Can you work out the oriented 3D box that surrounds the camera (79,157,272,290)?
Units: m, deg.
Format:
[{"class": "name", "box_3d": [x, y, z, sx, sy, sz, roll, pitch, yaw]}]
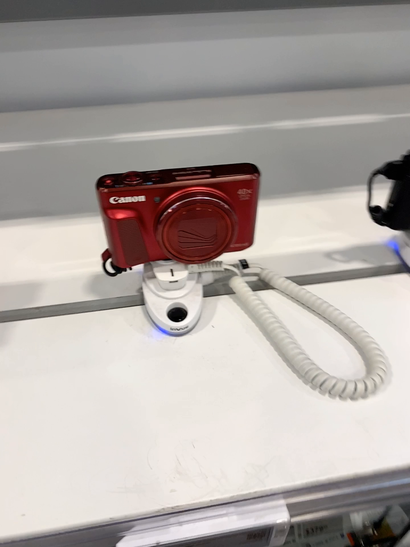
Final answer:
[{"class": "camera", "box_3d": [-0.020, -0.035, 0.300, 0.120, 0.070, 0.040, -7, 42, -7]}]
